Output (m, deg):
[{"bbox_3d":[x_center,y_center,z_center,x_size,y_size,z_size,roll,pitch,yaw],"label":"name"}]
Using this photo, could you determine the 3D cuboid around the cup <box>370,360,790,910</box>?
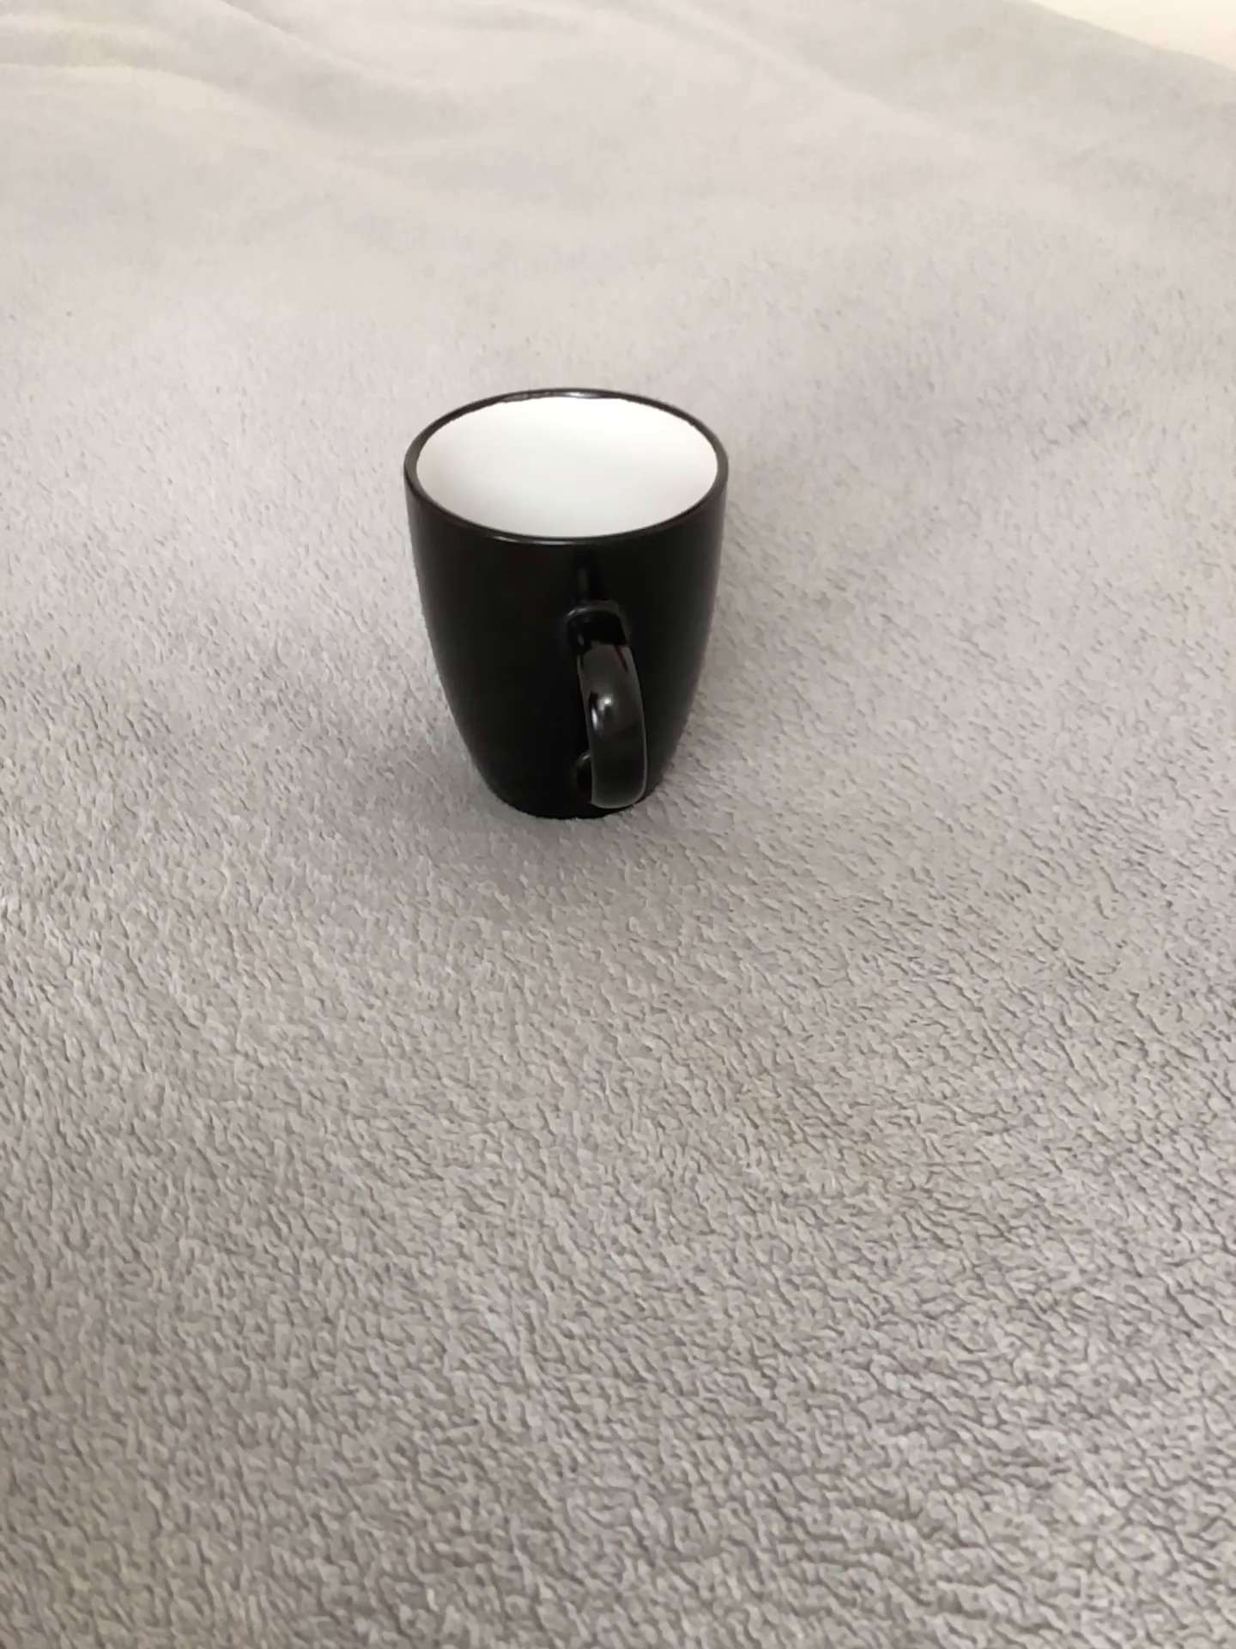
[{"bbox_3d":[-0.018,-0.057,0.373,0.090,0.089,0.129,-3,42,-9],"label":"cup"}]
